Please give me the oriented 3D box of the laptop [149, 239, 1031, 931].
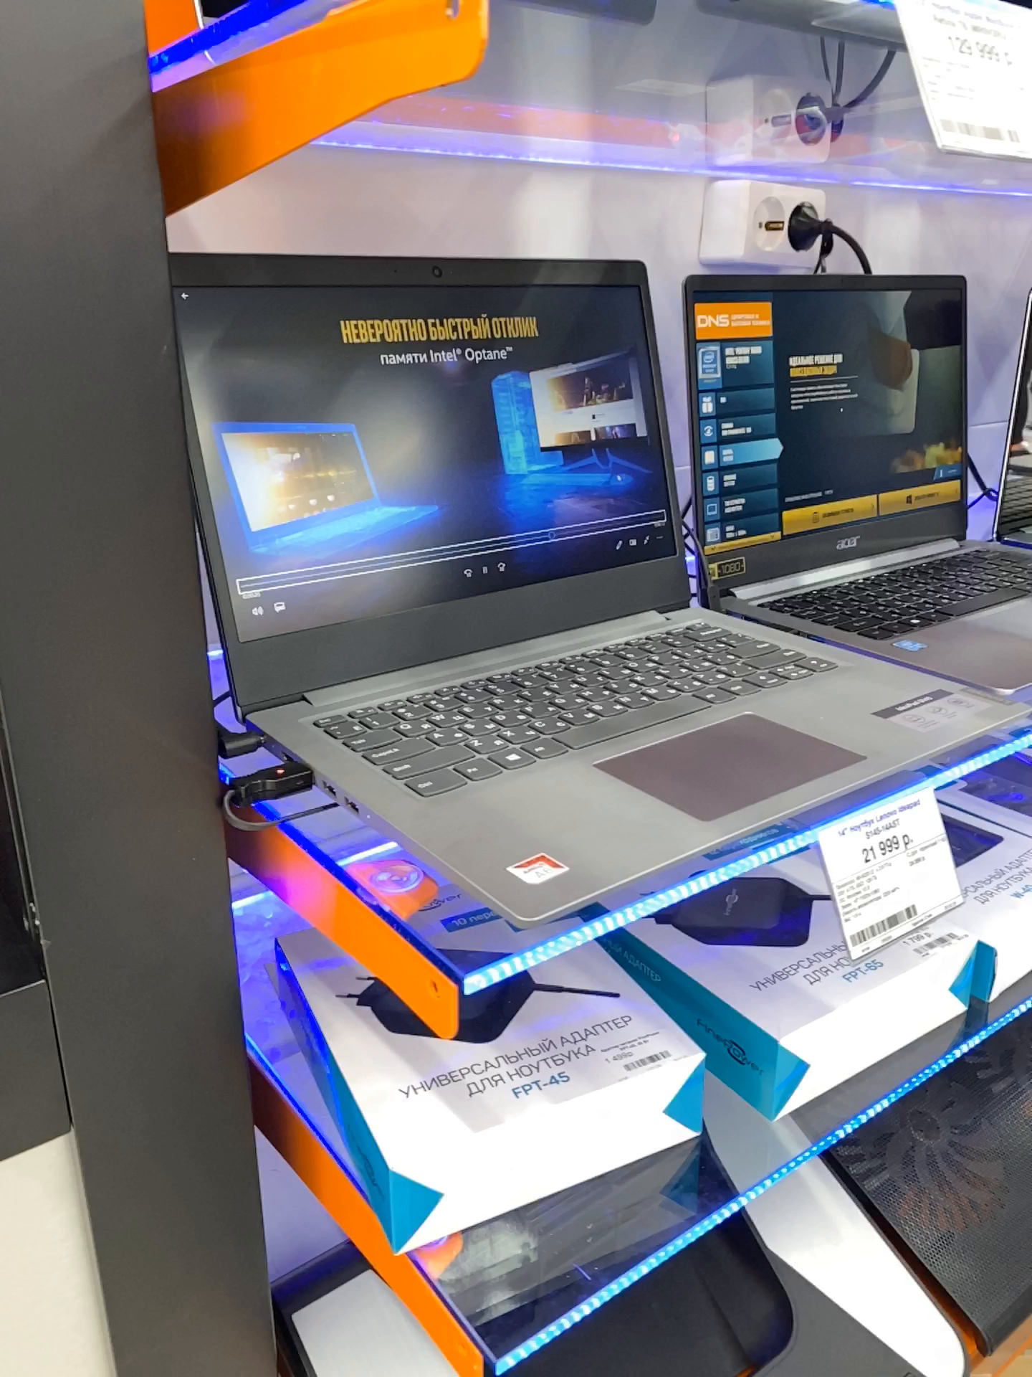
[{"bbox_3d":[0.043,-0.097,0.525,0.327,0.215,0.303,-14,25,-34],"label":"laptop"}]
